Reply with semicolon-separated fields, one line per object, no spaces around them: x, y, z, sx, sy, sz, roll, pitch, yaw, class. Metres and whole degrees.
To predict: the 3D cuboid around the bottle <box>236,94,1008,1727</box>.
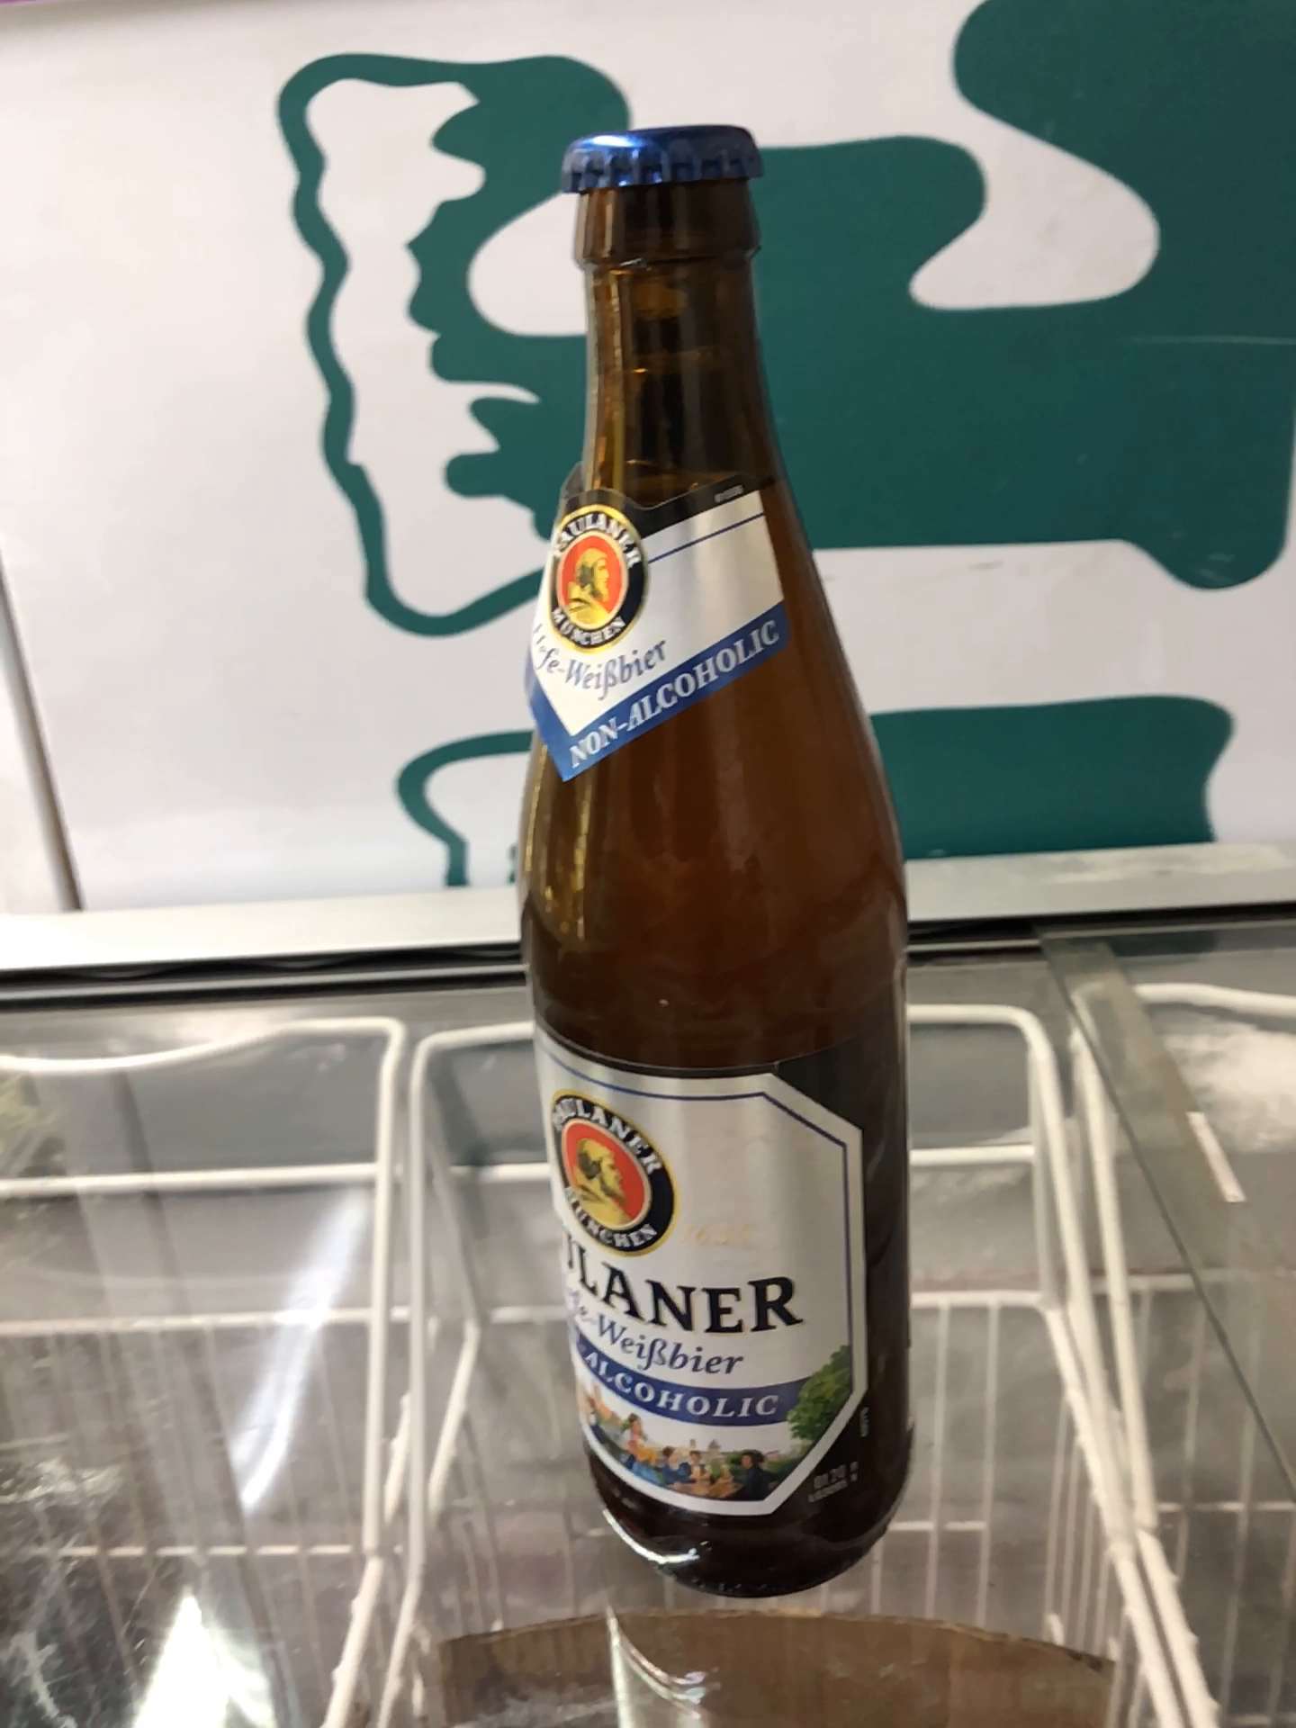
0.005;0.014;0.245;0.070;0.248;0.080;-24;29;-38;bottle
